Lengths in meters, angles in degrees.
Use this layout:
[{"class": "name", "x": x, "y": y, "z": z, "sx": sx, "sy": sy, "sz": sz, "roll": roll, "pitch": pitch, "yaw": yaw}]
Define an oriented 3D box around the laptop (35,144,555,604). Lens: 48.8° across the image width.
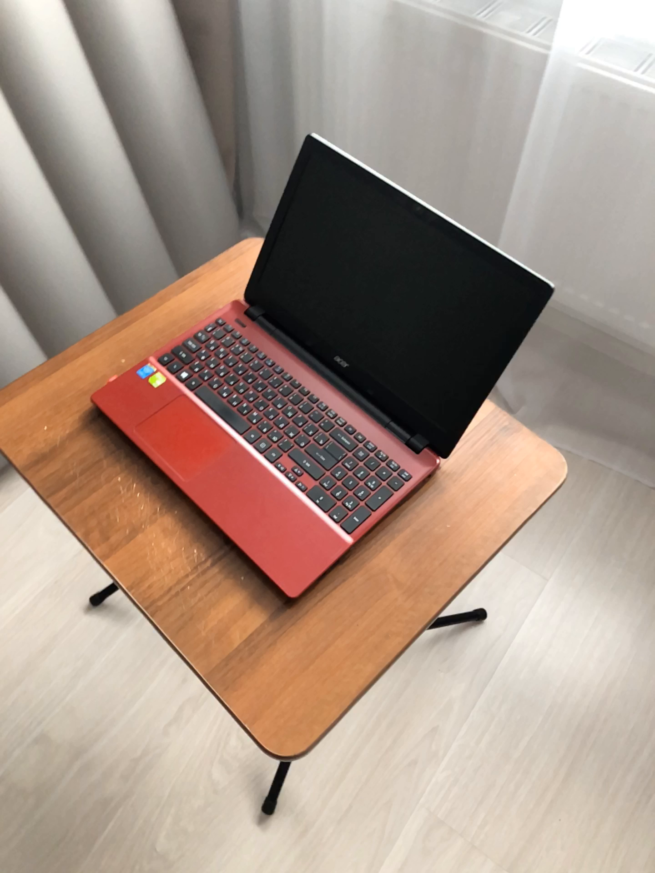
[{"class": "laptop", "x": -0.034, "y": -0.095, "z": 0.827, "sx": 0.382, "sy": 0.191, "sz": 0.372, "roll": -38, "pitch": 64, "yaw": -23}]
